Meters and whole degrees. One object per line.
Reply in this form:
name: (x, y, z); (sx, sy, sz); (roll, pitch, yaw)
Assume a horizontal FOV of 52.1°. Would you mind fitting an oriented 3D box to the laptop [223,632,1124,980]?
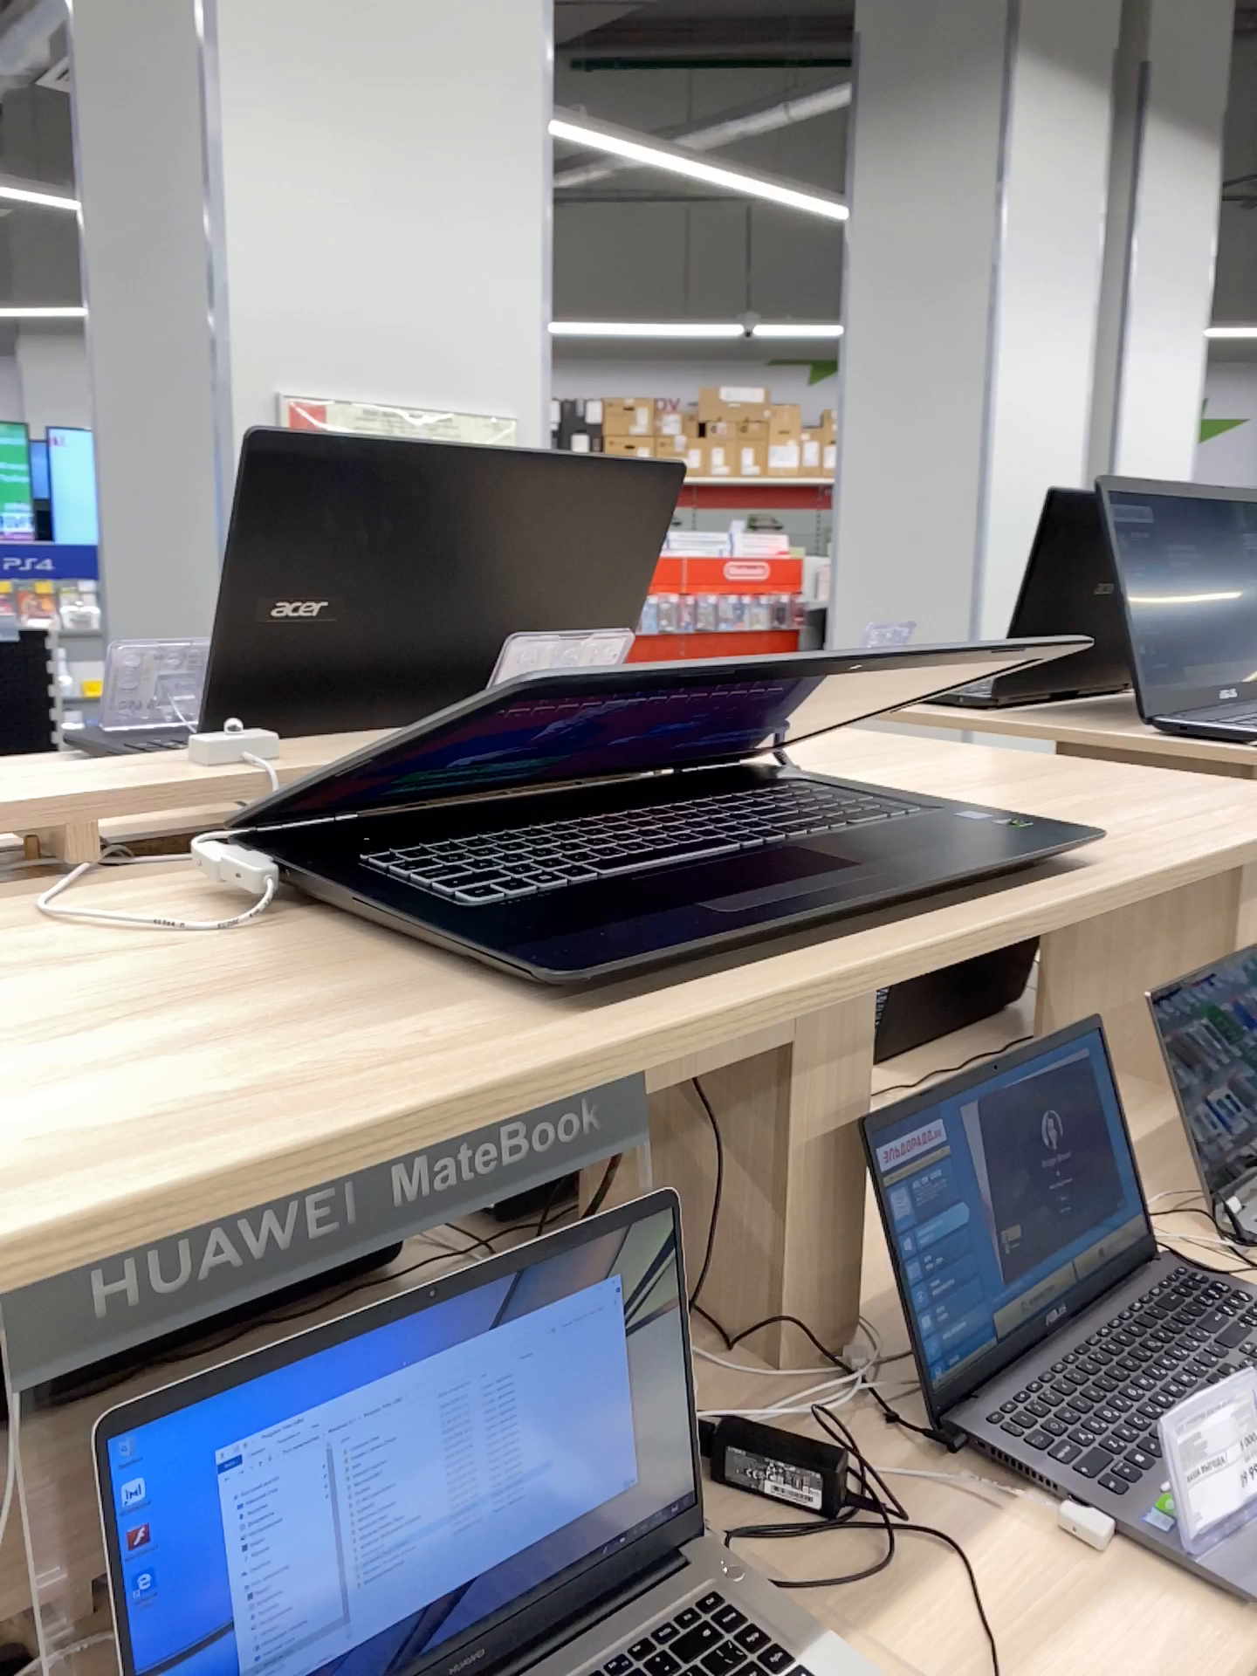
laptop: (0.037, -0.047, 0.701); (0.414, 0.095, 0.269); (-9, 18, -41)
